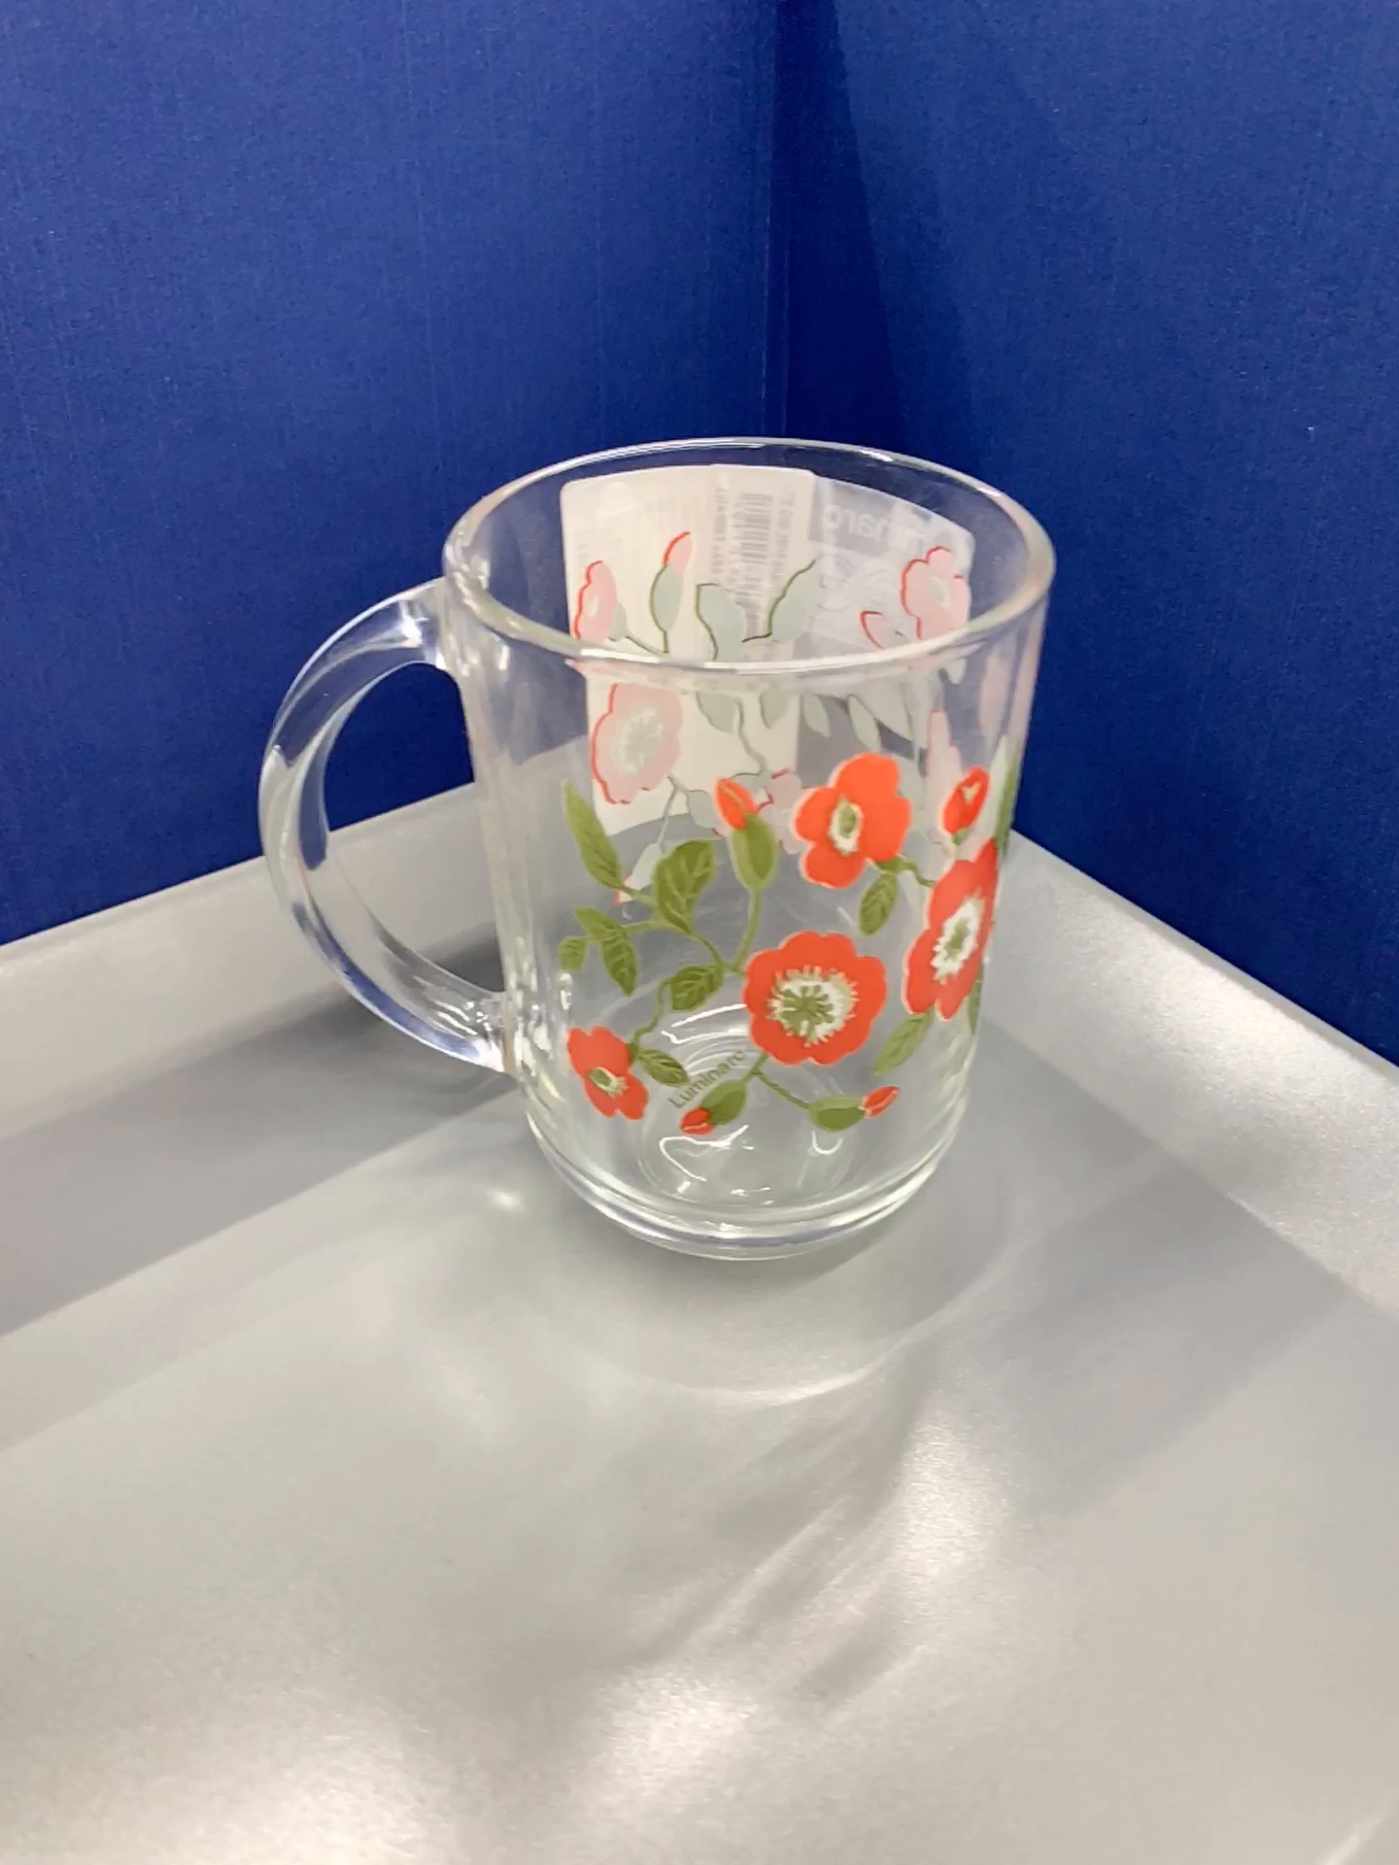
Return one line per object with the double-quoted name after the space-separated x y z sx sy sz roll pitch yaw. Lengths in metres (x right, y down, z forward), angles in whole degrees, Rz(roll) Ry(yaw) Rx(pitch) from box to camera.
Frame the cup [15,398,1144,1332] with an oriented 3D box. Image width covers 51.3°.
-0.012 -0.012 0.213 0.114 0.104 0.088 1 34 0 "cup"
